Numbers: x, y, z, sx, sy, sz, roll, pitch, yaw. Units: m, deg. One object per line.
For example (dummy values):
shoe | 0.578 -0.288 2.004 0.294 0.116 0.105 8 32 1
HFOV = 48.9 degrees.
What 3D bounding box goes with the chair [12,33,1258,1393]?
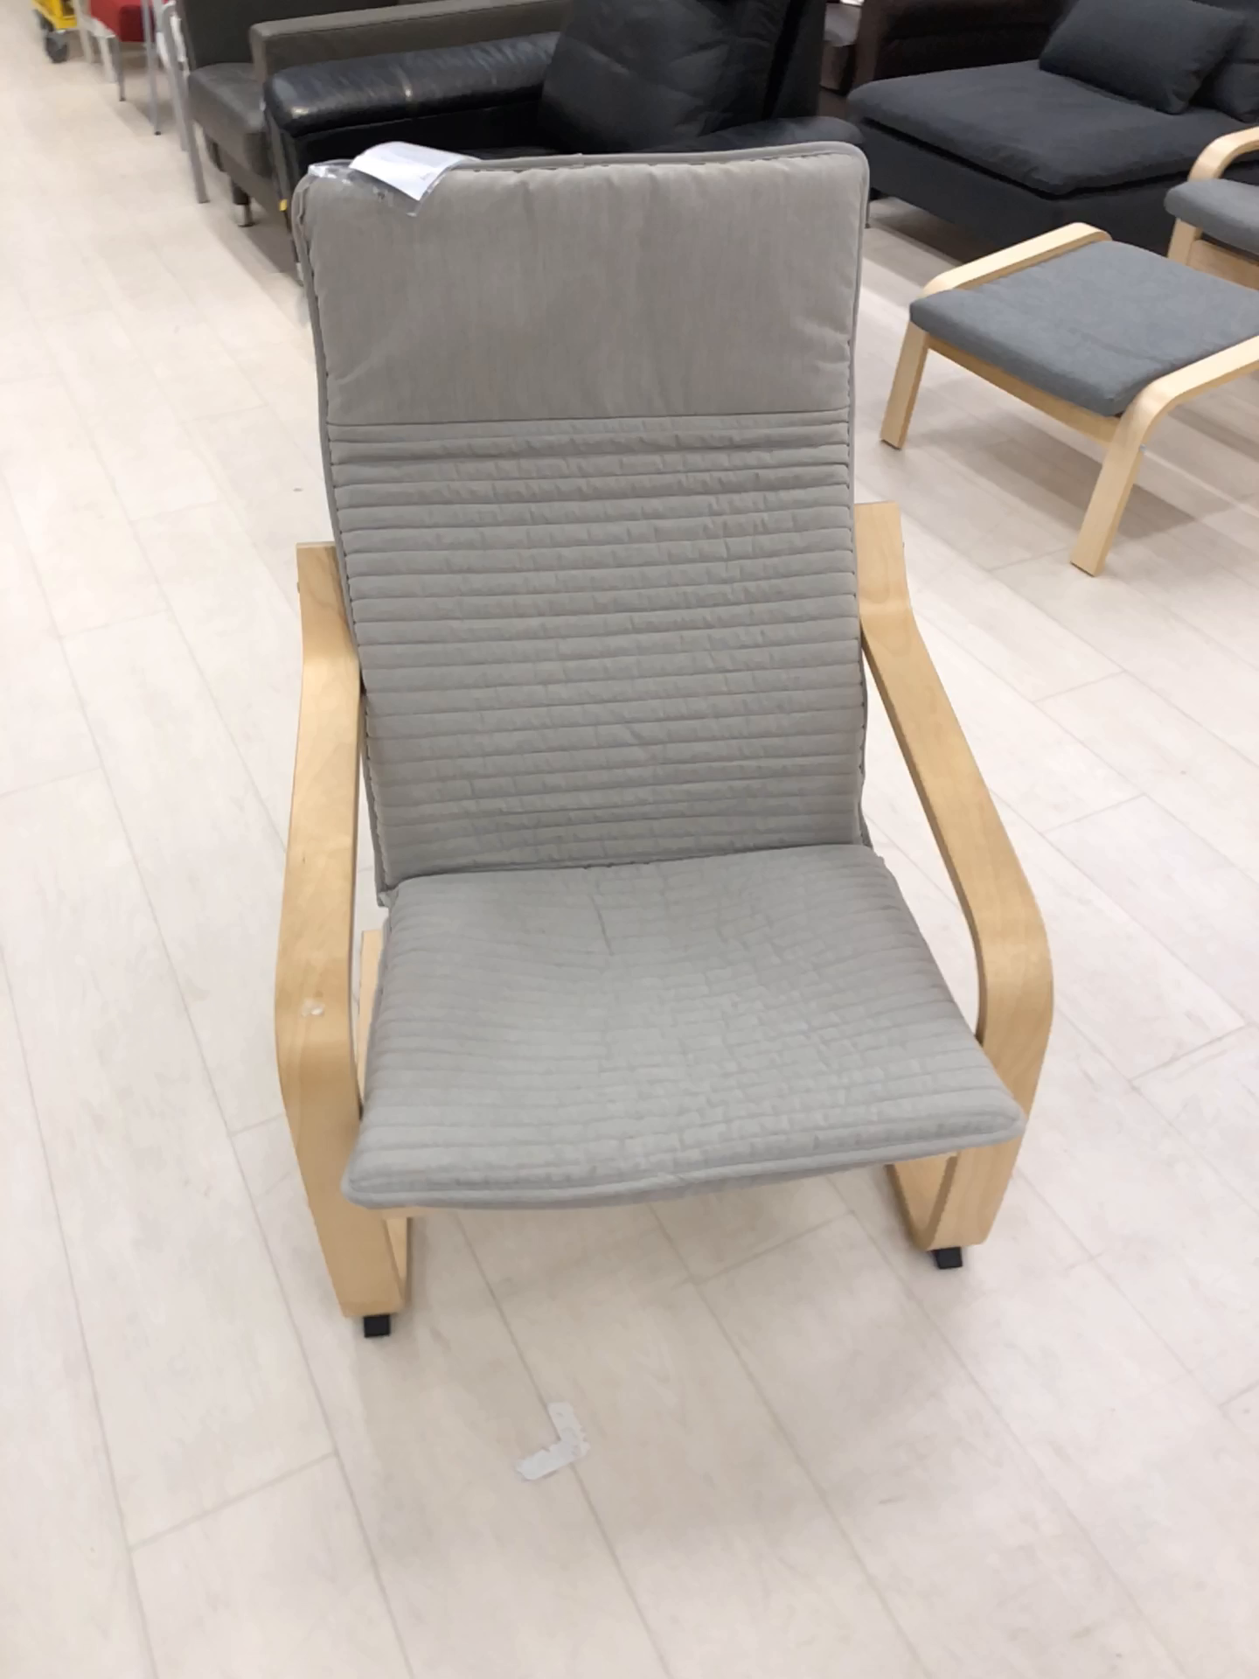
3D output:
chair | 0.036 -0.100 1.288 0.730 0.996 0.703 -3 41 -3
